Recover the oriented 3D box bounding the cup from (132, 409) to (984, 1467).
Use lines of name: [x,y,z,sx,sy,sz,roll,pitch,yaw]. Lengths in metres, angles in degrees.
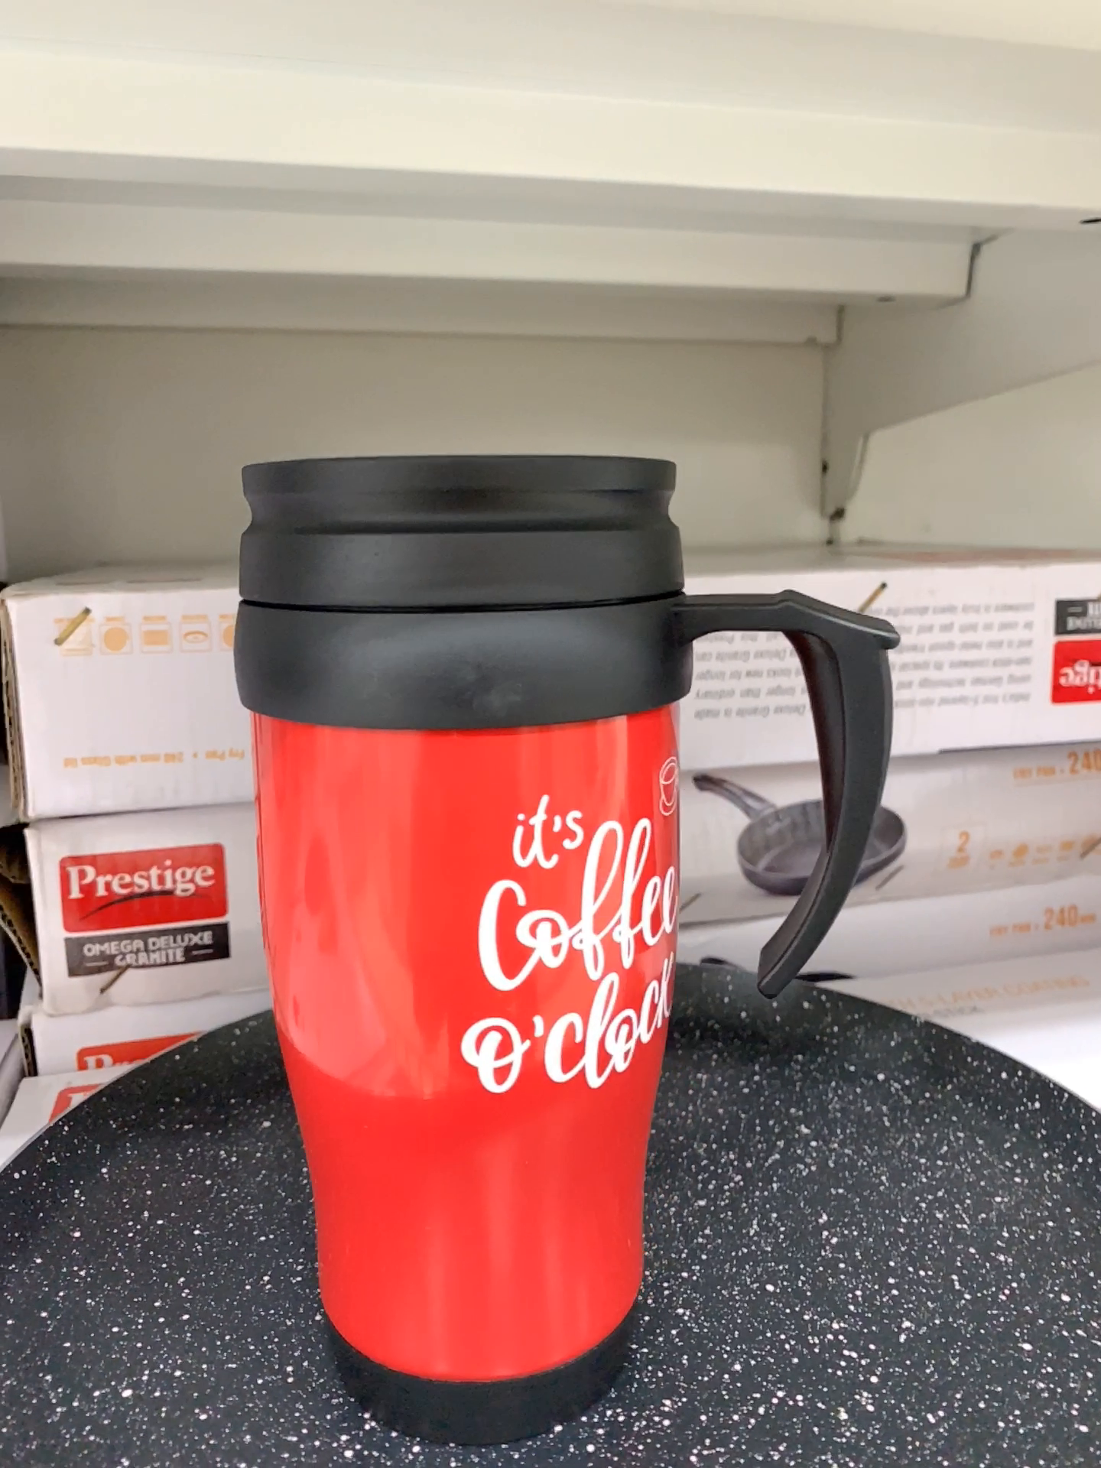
cup: [0.005,0.032,0.218,0.120,0.169,0.090,0,9,6]
